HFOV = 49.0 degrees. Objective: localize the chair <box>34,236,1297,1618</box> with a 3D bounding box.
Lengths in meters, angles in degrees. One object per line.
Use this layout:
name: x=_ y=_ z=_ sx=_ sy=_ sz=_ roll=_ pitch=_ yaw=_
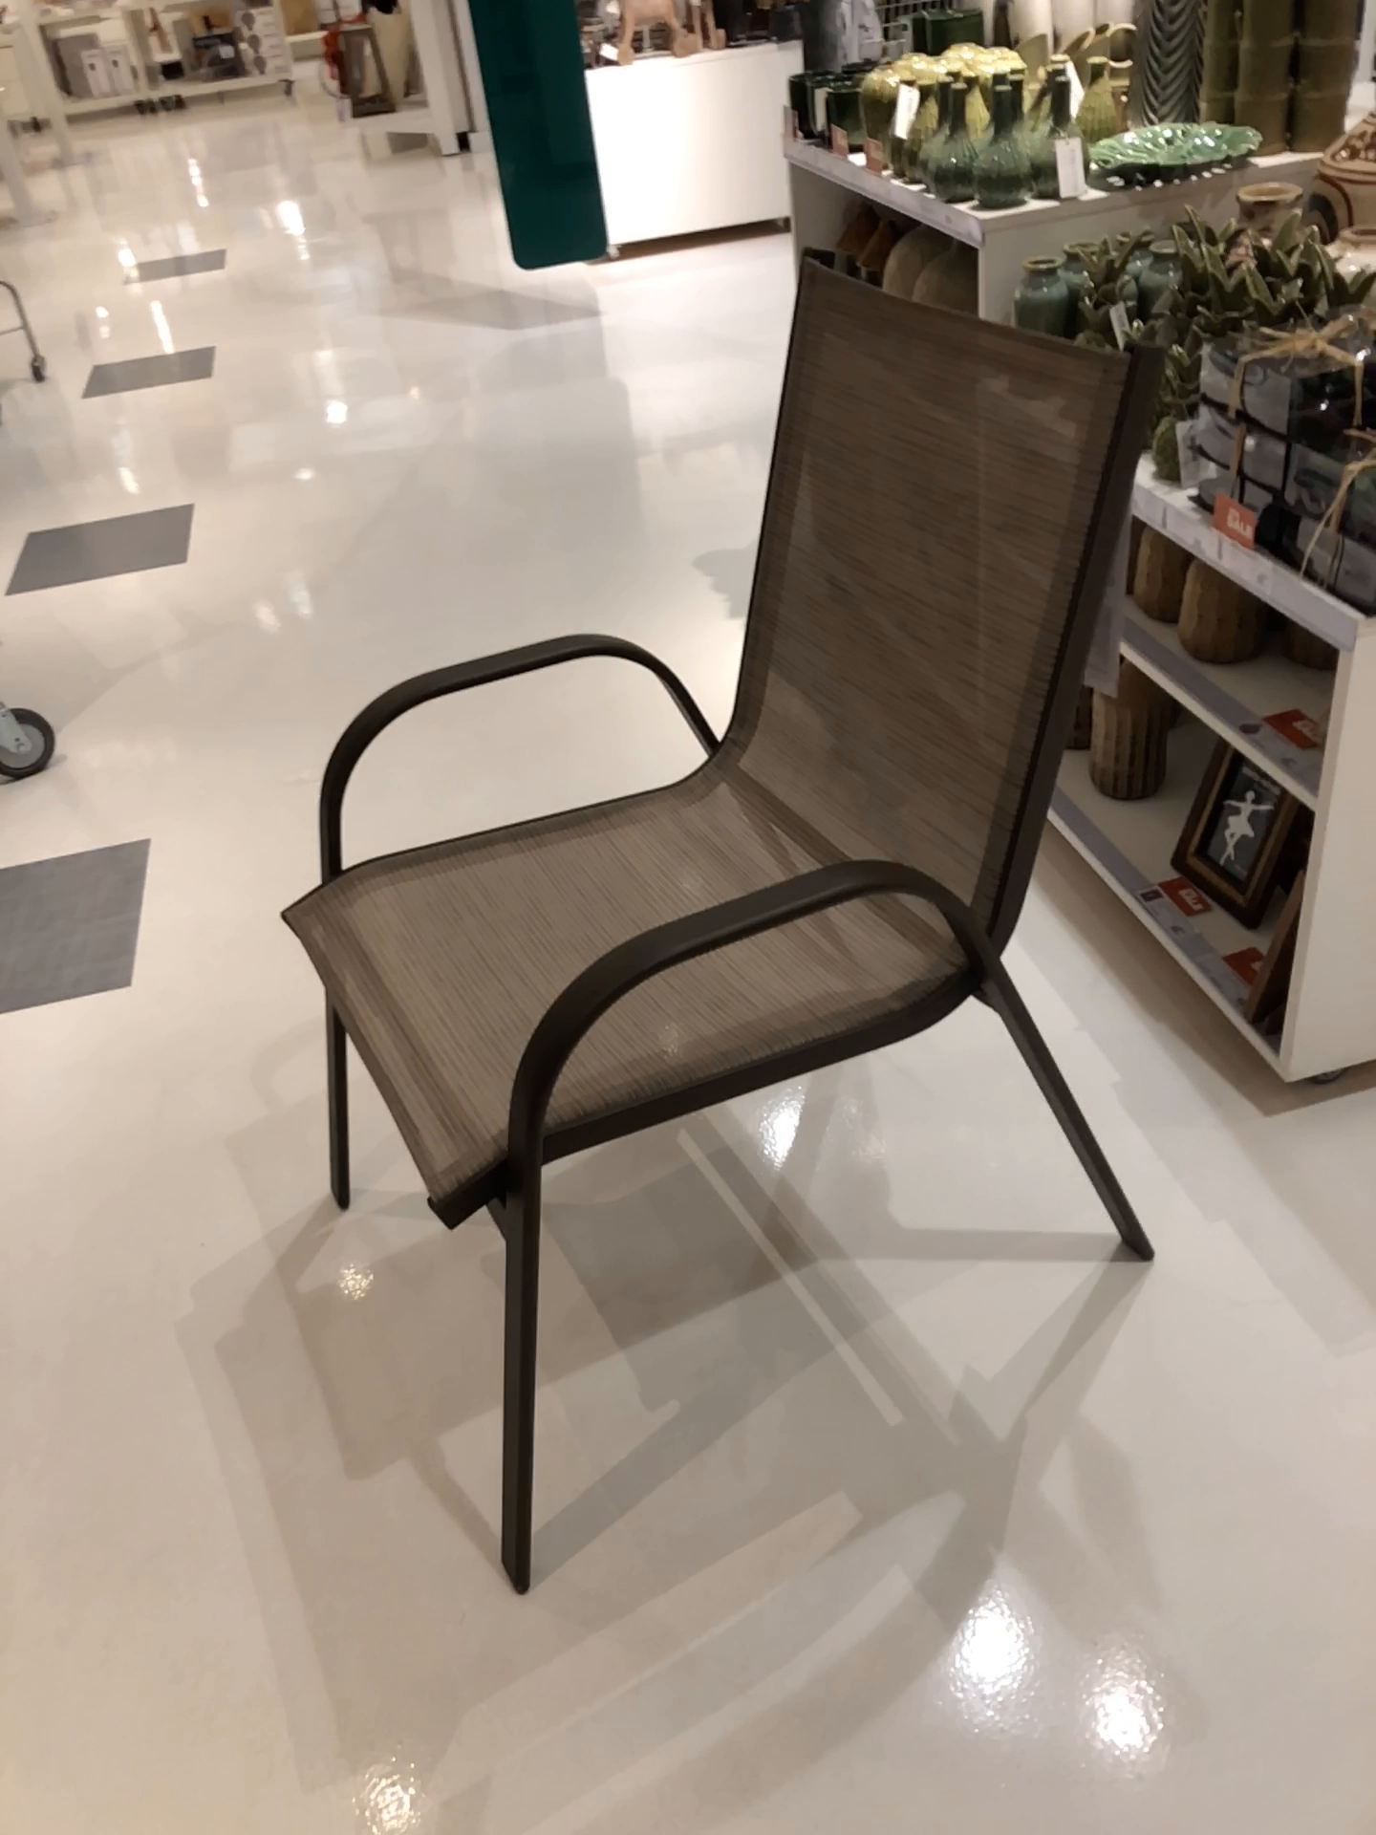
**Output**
chair: x=-0.019 y=-0.044 z=1.284 sx=0.701 sy=0.794 sz=0.604 roll=-21 pitch=37 yaw=-18
